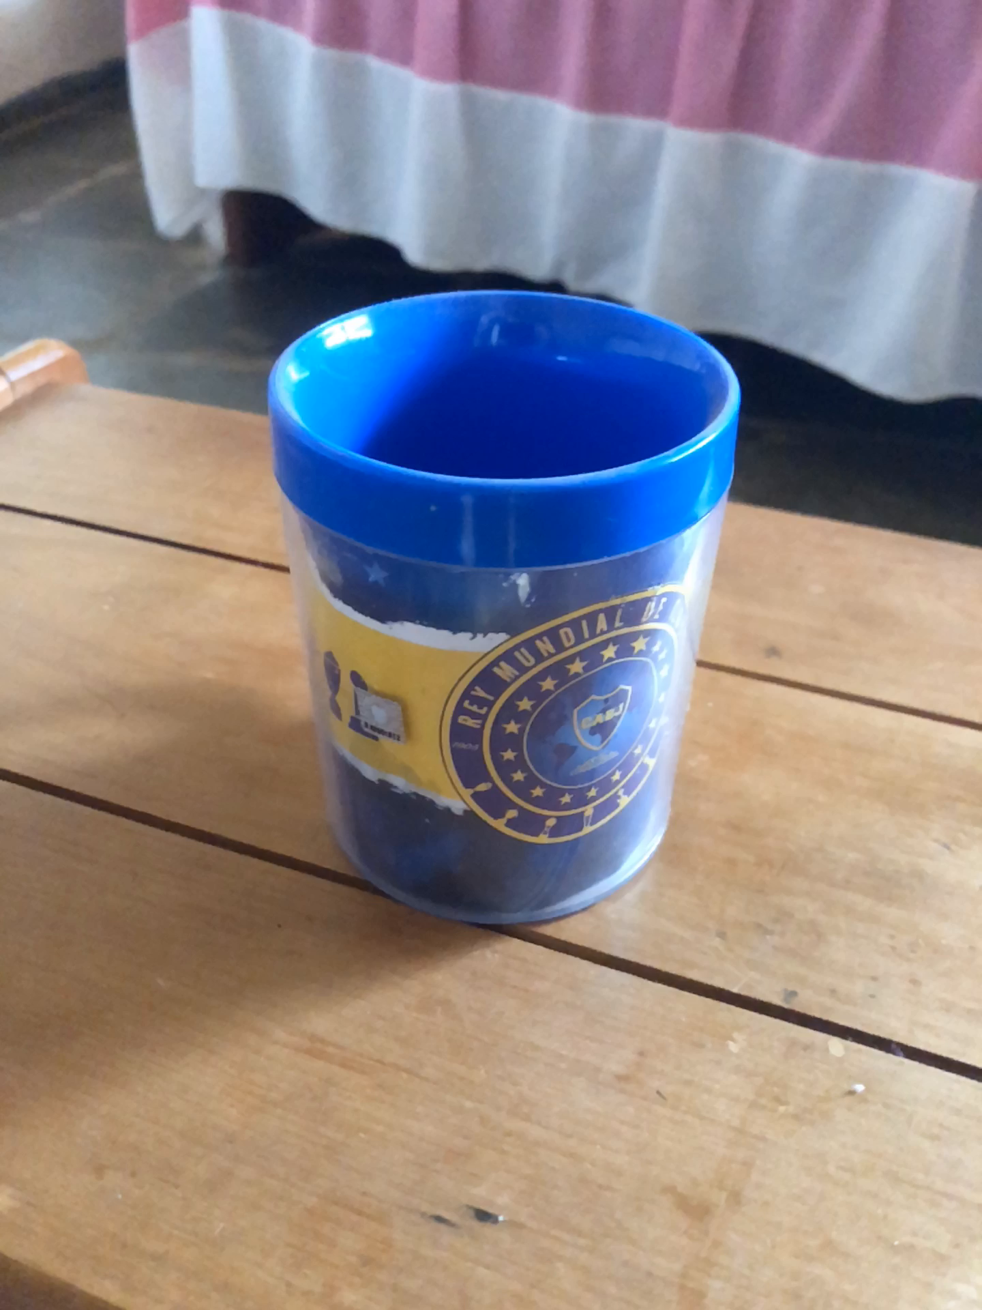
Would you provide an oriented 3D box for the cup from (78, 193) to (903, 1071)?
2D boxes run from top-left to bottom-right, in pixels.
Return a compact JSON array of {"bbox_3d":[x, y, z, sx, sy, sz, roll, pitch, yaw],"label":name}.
[{"bbox_3d":[-0.007,-0.015,0.223,0.090,0.109,0.120,-23,43,-27],"label":"cup"}]
